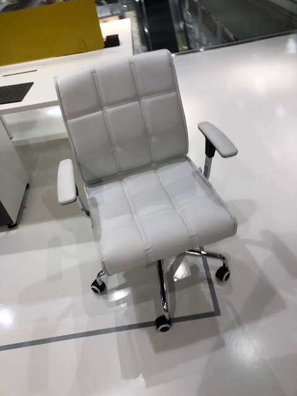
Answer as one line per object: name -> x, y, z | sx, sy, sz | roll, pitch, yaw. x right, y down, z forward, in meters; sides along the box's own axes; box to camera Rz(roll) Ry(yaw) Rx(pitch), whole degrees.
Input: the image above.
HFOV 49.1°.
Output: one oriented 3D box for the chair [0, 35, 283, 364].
chair -> -0.028, 0.003, 1.298 | 0.660, 0.923, 0.725 | -16, 41, -6
